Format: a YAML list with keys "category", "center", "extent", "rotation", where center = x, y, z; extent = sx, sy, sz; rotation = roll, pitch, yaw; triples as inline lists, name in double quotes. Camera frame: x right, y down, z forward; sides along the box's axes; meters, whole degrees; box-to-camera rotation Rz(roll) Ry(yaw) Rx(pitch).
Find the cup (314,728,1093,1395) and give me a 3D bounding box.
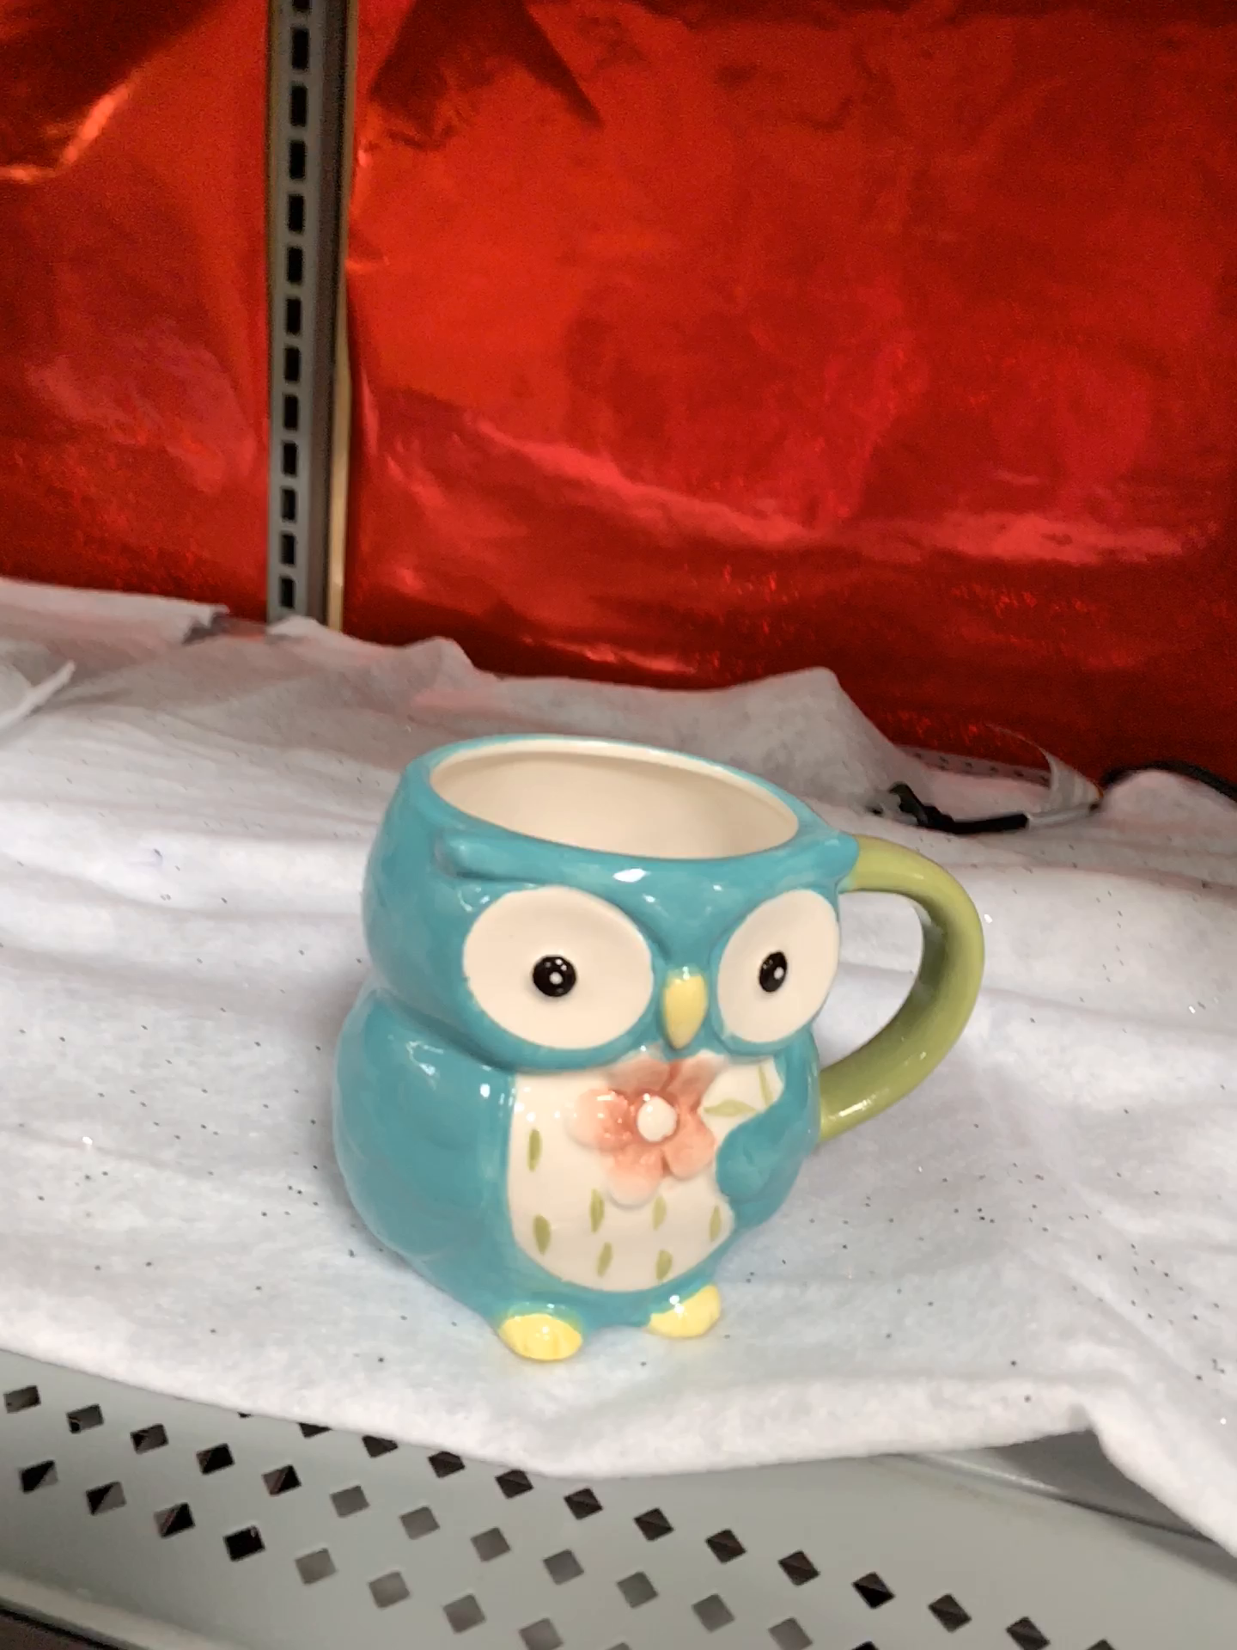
- category: "cup"
  center: [0.006, 0.038, 0.278]
  extent: [0.127, 0.087, 0.108]
  rotation: [-1, 23, -20]
